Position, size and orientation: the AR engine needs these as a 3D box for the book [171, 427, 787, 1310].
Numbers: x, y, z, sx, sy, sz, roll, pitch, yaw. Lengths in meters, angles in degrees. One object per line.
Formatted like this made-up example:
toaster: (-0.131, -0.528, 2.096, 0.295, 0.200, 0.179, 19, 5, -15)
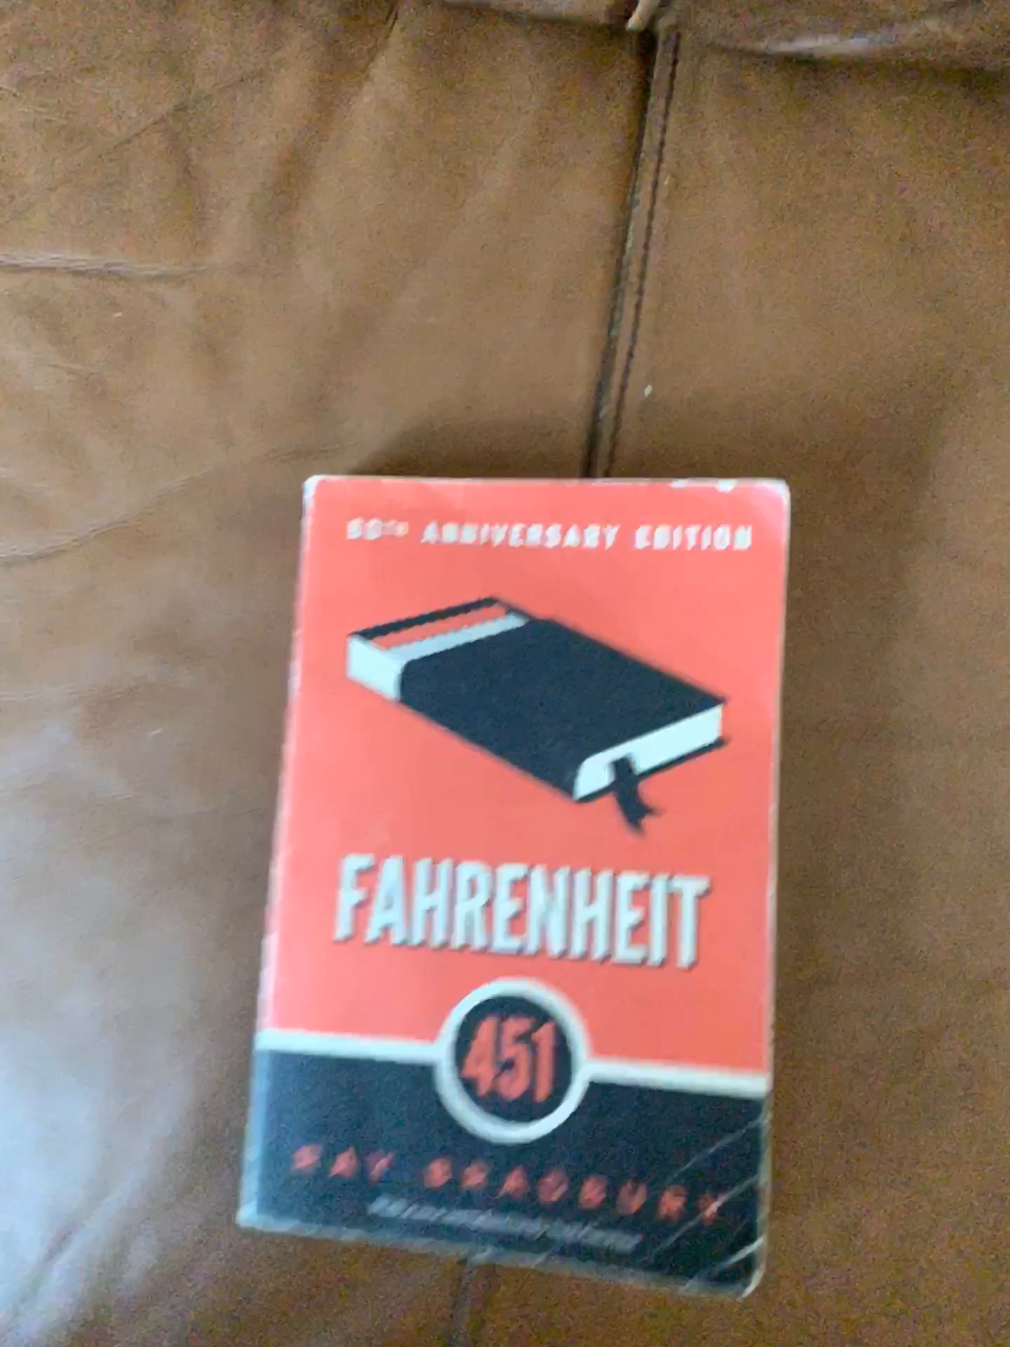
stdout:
book: (-0.002, 0.046, 0.291, 0.150, 0.040, 0.220, 2, 81, 2)
